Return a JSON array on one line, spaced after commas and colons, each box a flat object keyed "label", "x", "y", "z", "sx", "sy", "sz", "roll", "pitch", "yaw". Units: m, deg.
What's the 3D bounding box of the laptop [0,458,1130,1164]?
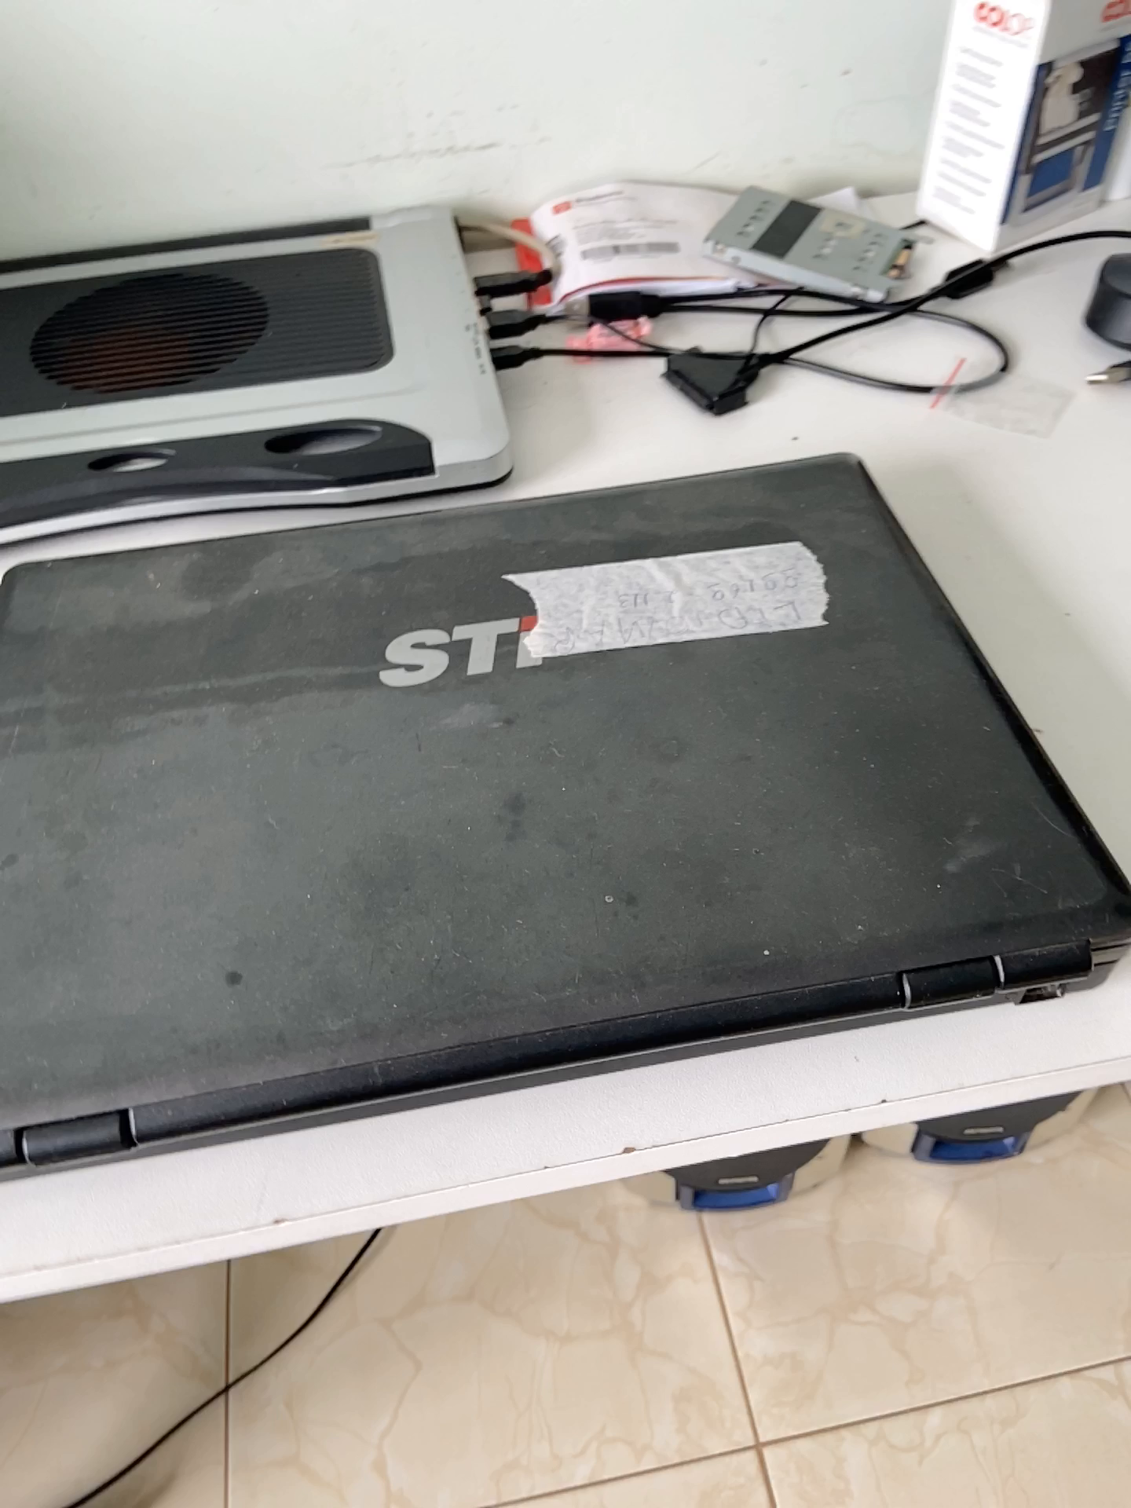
[{"label": "laptop", "x": -0.029, "y": -0.008, "z": 0.384, "sx": 0.337, "sy": 0.006, "sz": 0.235, "roll": -9, "pitch": 46, "yaw": -4}]
